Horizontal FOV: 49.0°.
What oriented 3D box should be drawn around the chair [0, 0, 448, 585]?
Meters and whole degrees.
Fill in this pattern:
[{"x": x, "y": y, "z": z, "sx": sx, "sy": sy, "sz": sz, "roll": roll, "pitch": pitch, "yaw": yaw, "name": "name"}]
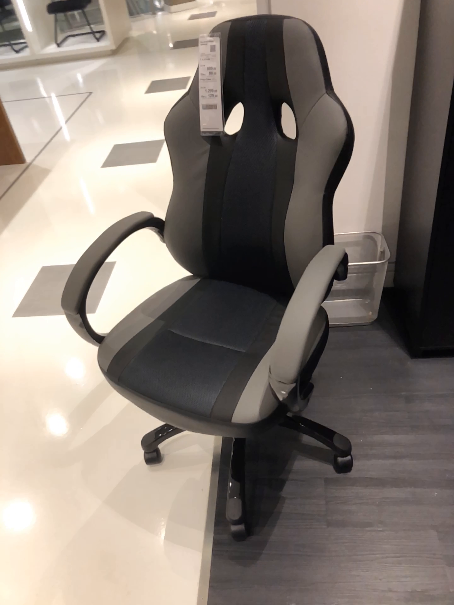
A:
[{"x": 0.024, "y": -0.057, "z": 1.295, "sx": 0.712, "sy": 1.160, "sz": 0.785, "roll": 15, "pitch": 45, "yaw": 28, "name": "chair"}]
